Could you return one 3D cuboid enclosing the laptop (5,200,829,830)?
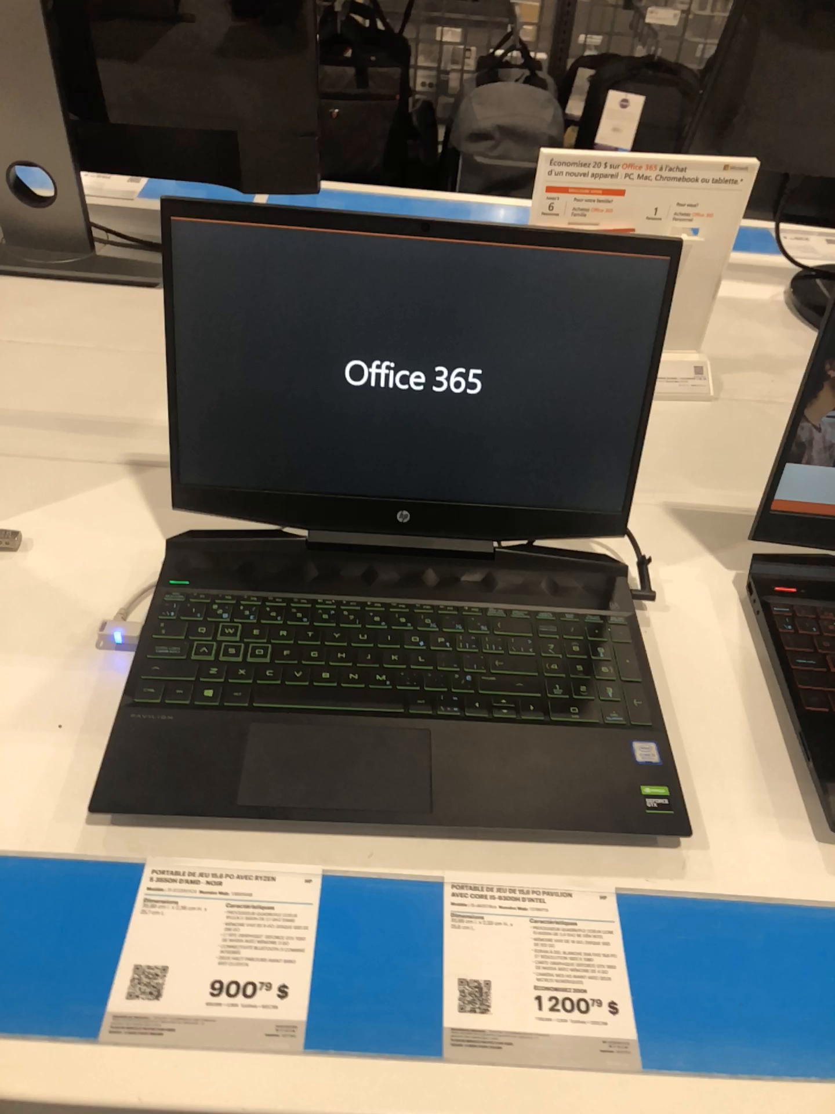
[{"bbox_3d":[-0.006,-0.037,0.589,0.355,0.232,0.317,4,40,-5],"label":"laptop"}]
